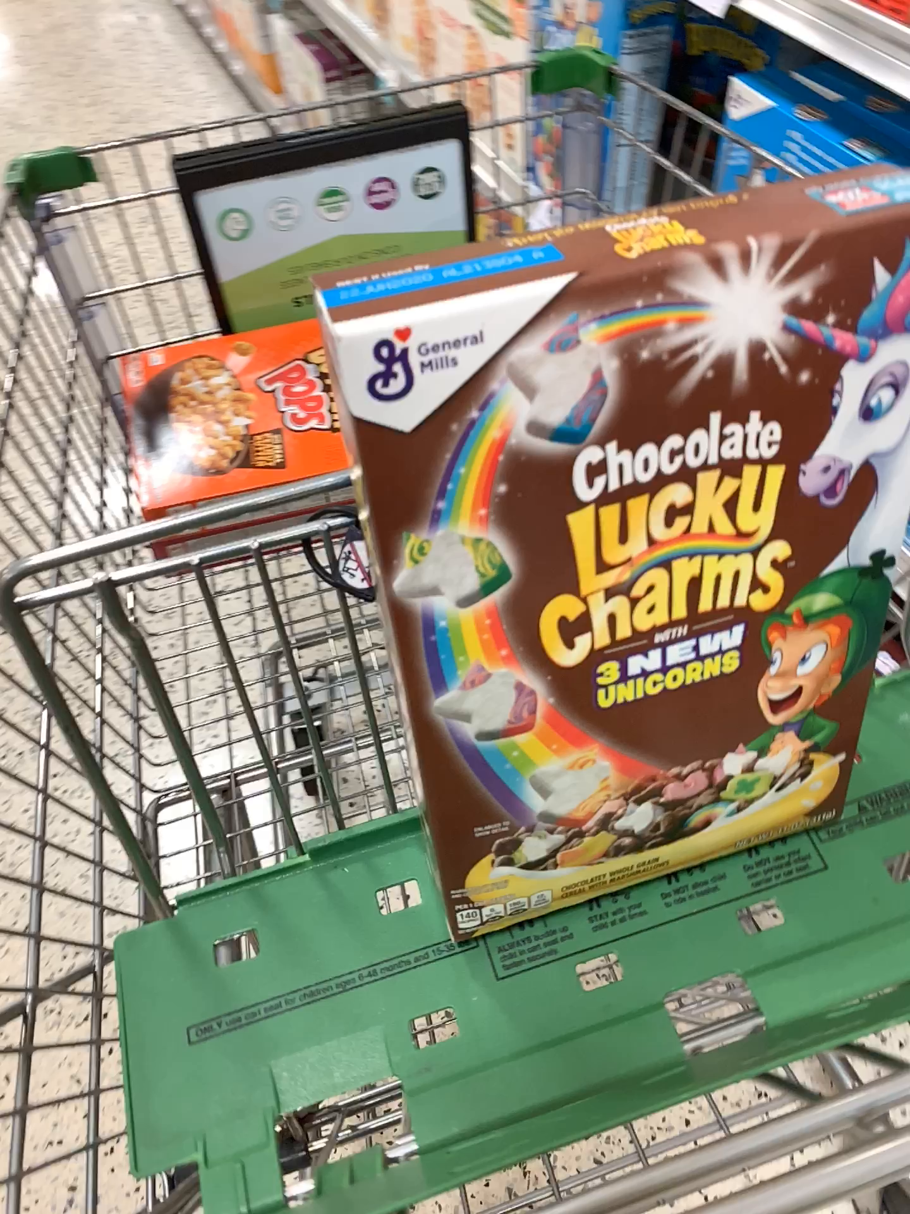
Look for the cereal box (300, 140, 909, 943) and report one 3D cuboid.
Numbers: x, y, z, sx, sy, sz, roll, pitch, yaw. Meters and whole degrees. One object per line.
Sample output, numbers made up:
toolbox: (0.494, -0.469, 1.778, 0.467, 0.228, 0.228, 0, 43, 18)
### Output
cereal box: (0.072, 0.000, 0.367, 0.200, 0.297, 0.050, -15, 40, -8)
